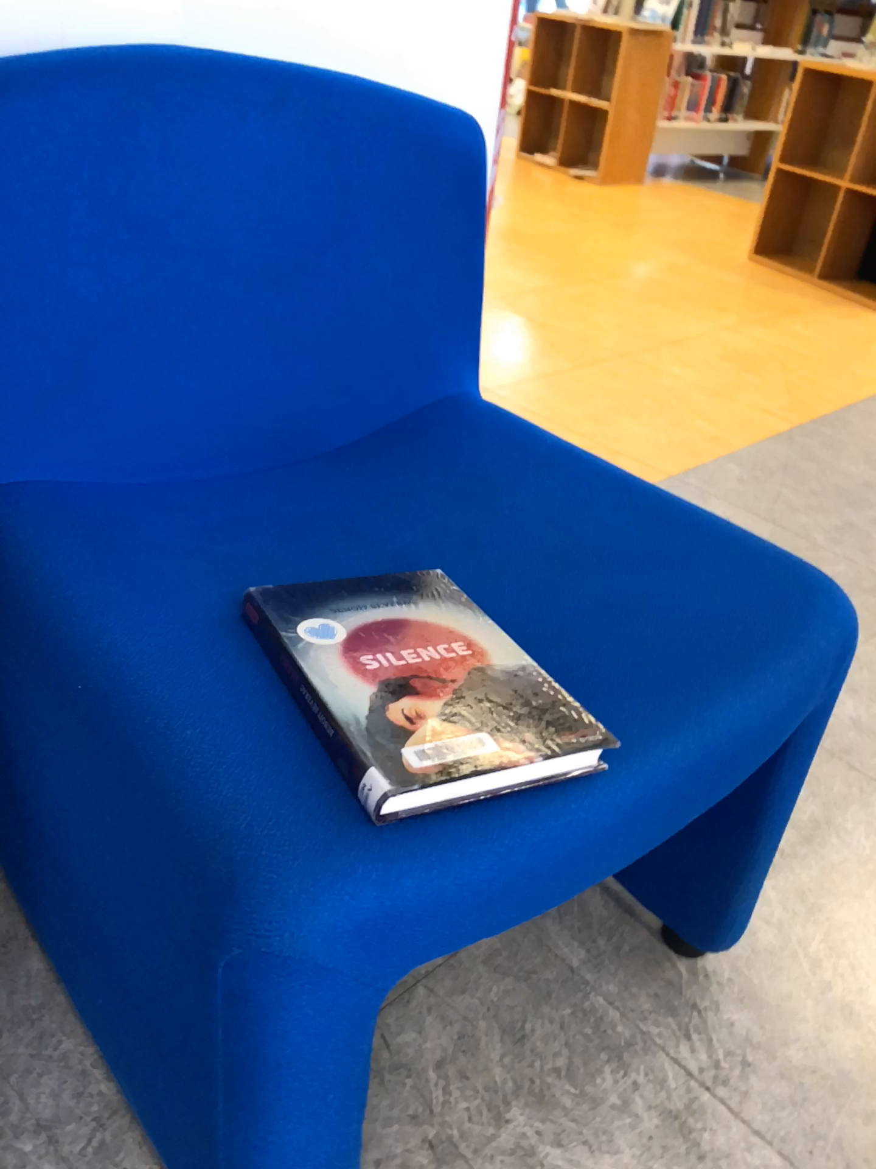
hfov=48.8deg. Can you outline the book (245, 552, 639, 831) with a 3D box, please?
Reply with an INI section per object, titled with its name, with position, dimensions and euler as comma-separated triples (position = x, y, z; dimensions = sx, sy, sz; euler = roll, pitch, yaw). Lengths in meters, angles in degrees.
[book]
position = -0.008, 0.046, 0.559
dimensions = 0.147, 0.023, 0.211
euler = -7, 32, -28
